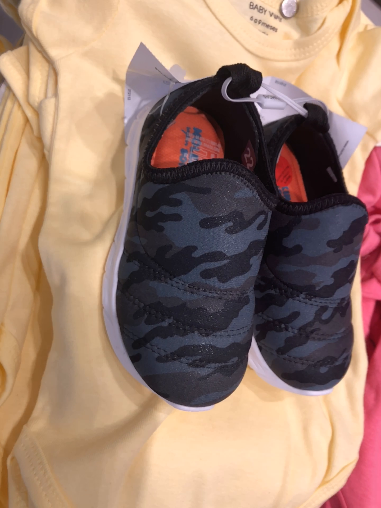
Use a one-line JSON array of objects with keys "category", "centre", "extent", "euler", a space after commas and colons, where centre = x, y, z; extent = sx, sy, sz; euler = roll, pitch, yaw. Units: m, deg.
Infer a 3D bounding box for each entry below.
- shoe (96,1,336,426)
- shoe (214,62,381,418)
[{"category": "shoe", "centre": [0.004, -0.011, 0.196], "extent": [0.070, 0.080, 0.150], "euler": [5, 77, -28]}, {"category": "shoe", "centre": [0.070, -0.005, 0.224], "extent": [0.070, 0.070, 0.150], "euler": [-3, 80, -29]}]
